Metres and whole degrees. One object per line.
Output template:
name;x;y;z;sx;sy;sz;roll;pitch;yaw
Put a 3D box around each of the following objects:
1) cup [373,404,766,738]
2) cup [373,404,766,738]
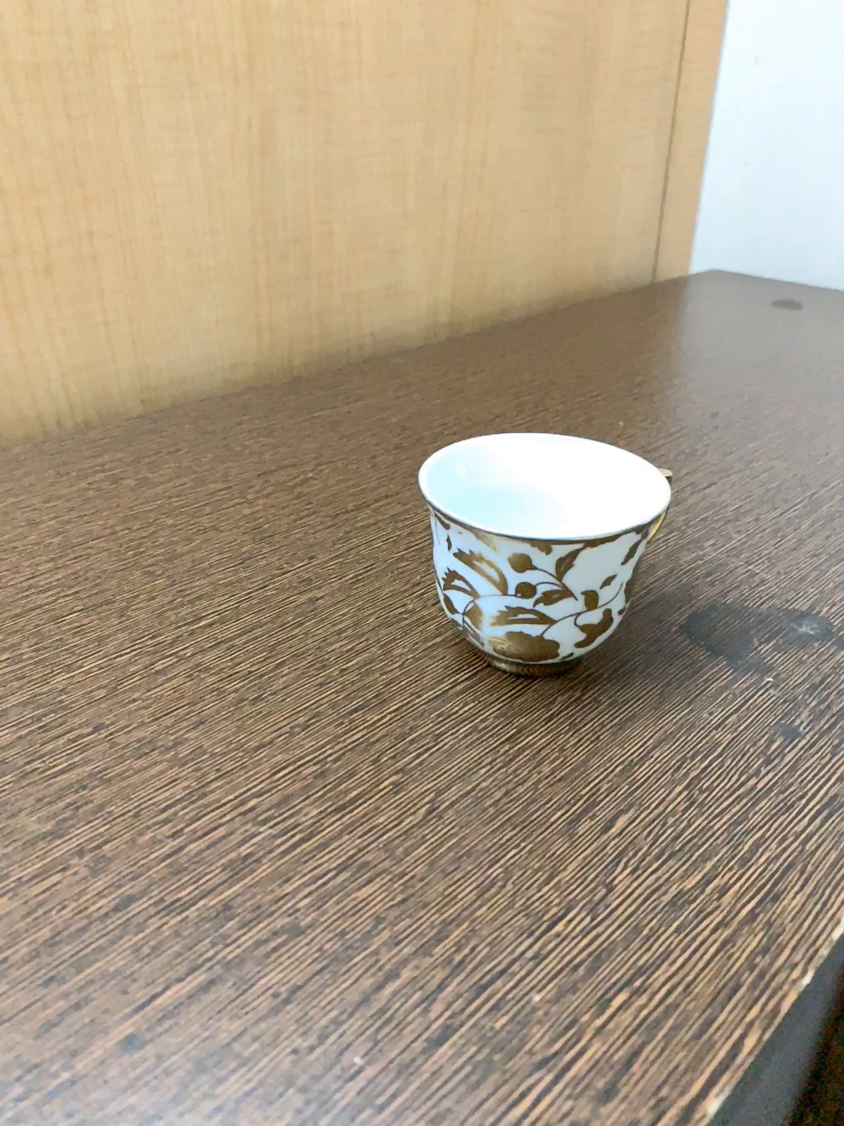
cup;0.039;-0.004;0.249;0.080;0.050;0.070;-21;35;-35
cup;0.039;-0.004;0.249;0.080;0.050;0.070;-21;35;-35
